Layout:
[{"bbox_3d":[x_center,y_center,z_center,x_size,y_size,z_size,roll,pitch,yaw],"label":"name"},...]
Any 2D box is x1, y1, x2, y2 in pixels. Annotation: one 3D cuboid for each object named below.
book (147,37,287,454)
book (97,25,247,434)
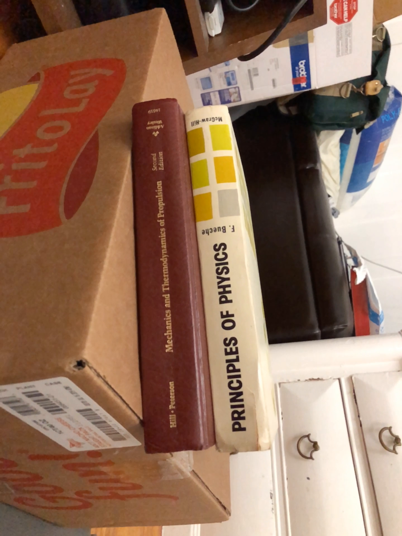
[{"bbox_3d":[0.020,-0.006,0.343,0.180,0.040,0.250,45,37,-70],"label":"book"},{"bbox_3d":[-0.016,-0.013,0.340,0.180,0.040,0.250,49,32,-67],"label":"book"}]
